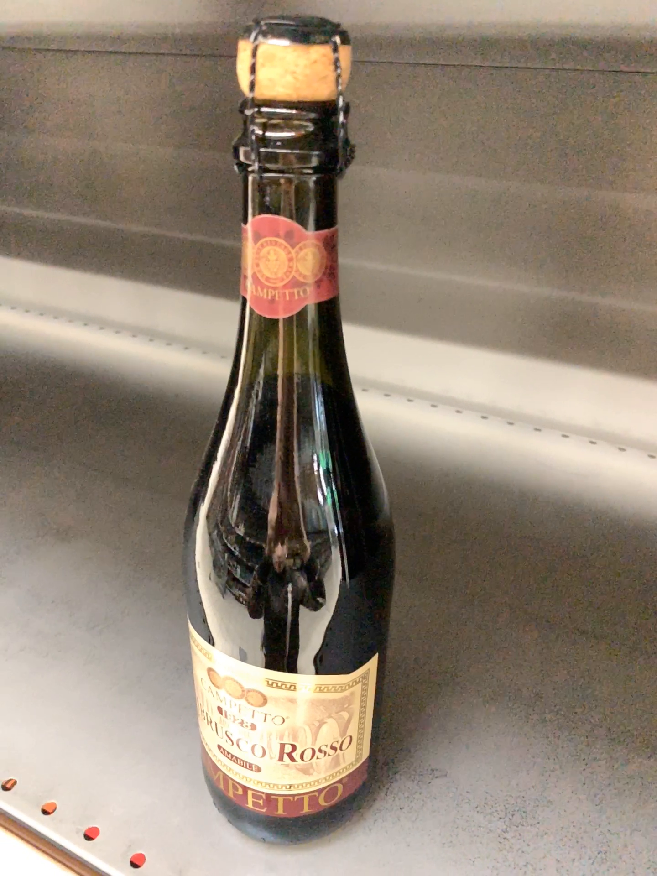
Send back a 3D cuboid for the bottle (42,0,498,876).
[{"bbox_3d":[-0.015,0.018,0.247,0.090,0.299,0.080,14,31,21],"label":"bottle"}]
